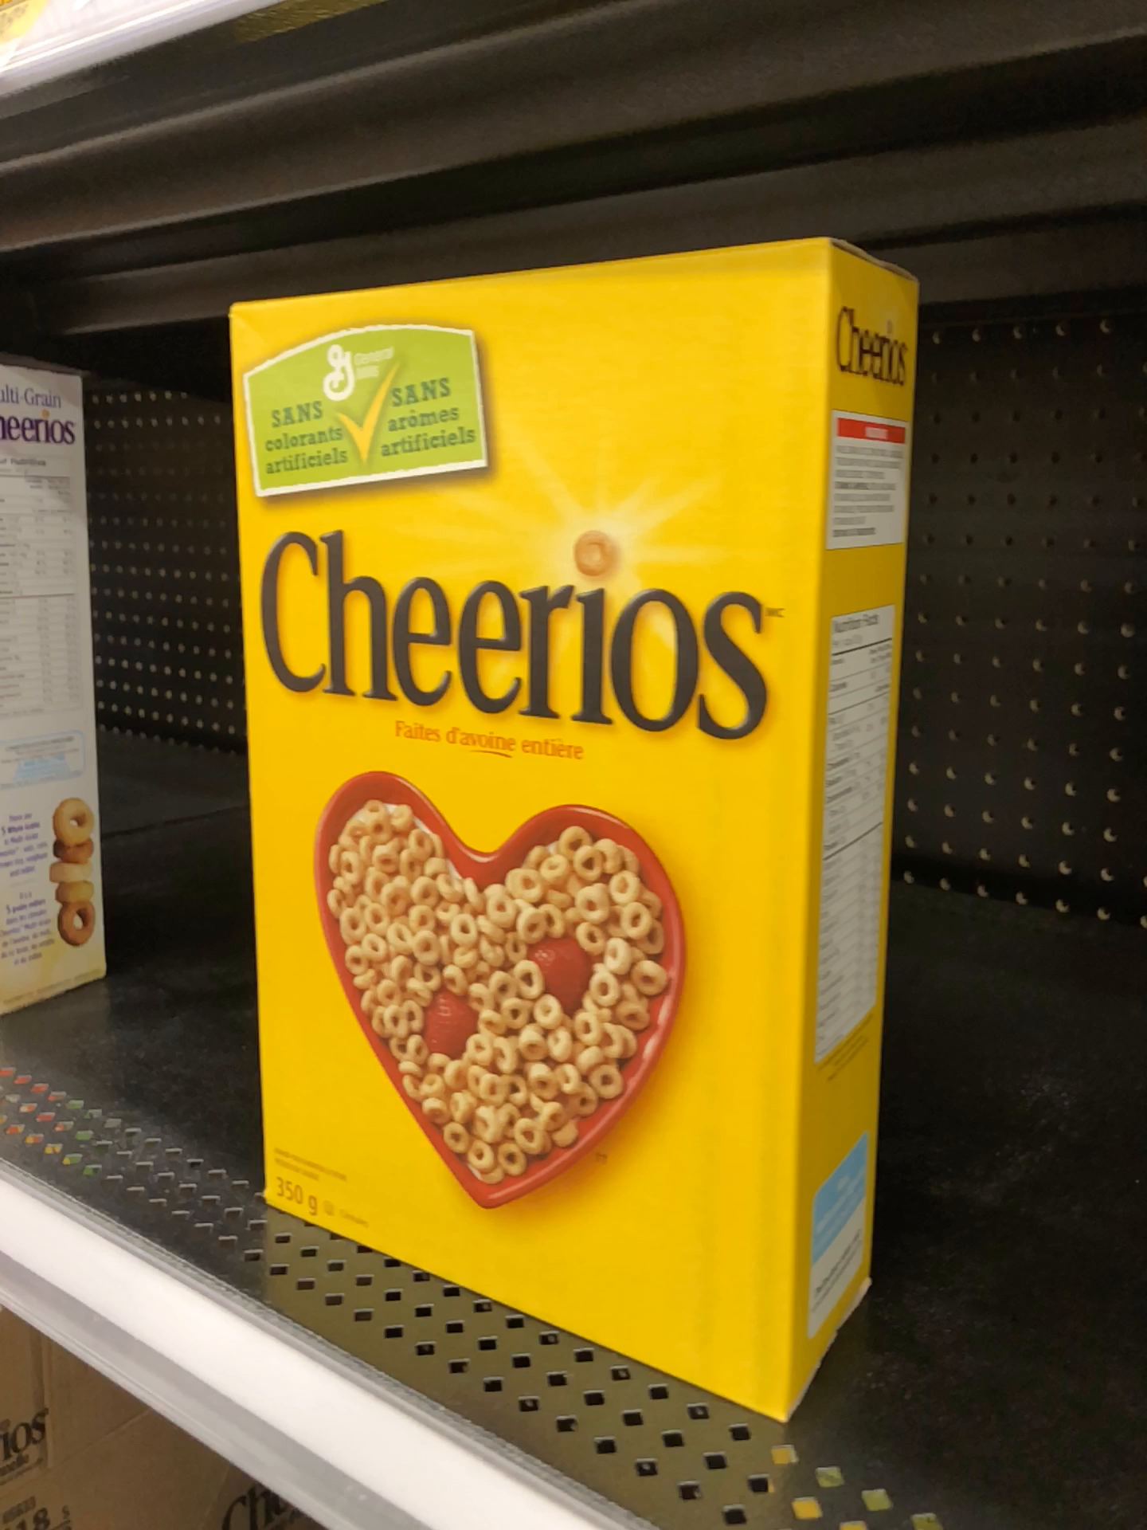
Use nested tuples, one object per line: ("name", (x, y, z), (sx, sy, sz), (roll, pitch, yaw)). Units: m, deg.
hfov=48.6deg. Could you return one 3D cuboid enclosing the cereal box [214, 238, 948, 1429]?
("cereal box", (-0.006, 0.012, 0.410), (0.210, 0.309, 0.080), (7, 13, 32))
